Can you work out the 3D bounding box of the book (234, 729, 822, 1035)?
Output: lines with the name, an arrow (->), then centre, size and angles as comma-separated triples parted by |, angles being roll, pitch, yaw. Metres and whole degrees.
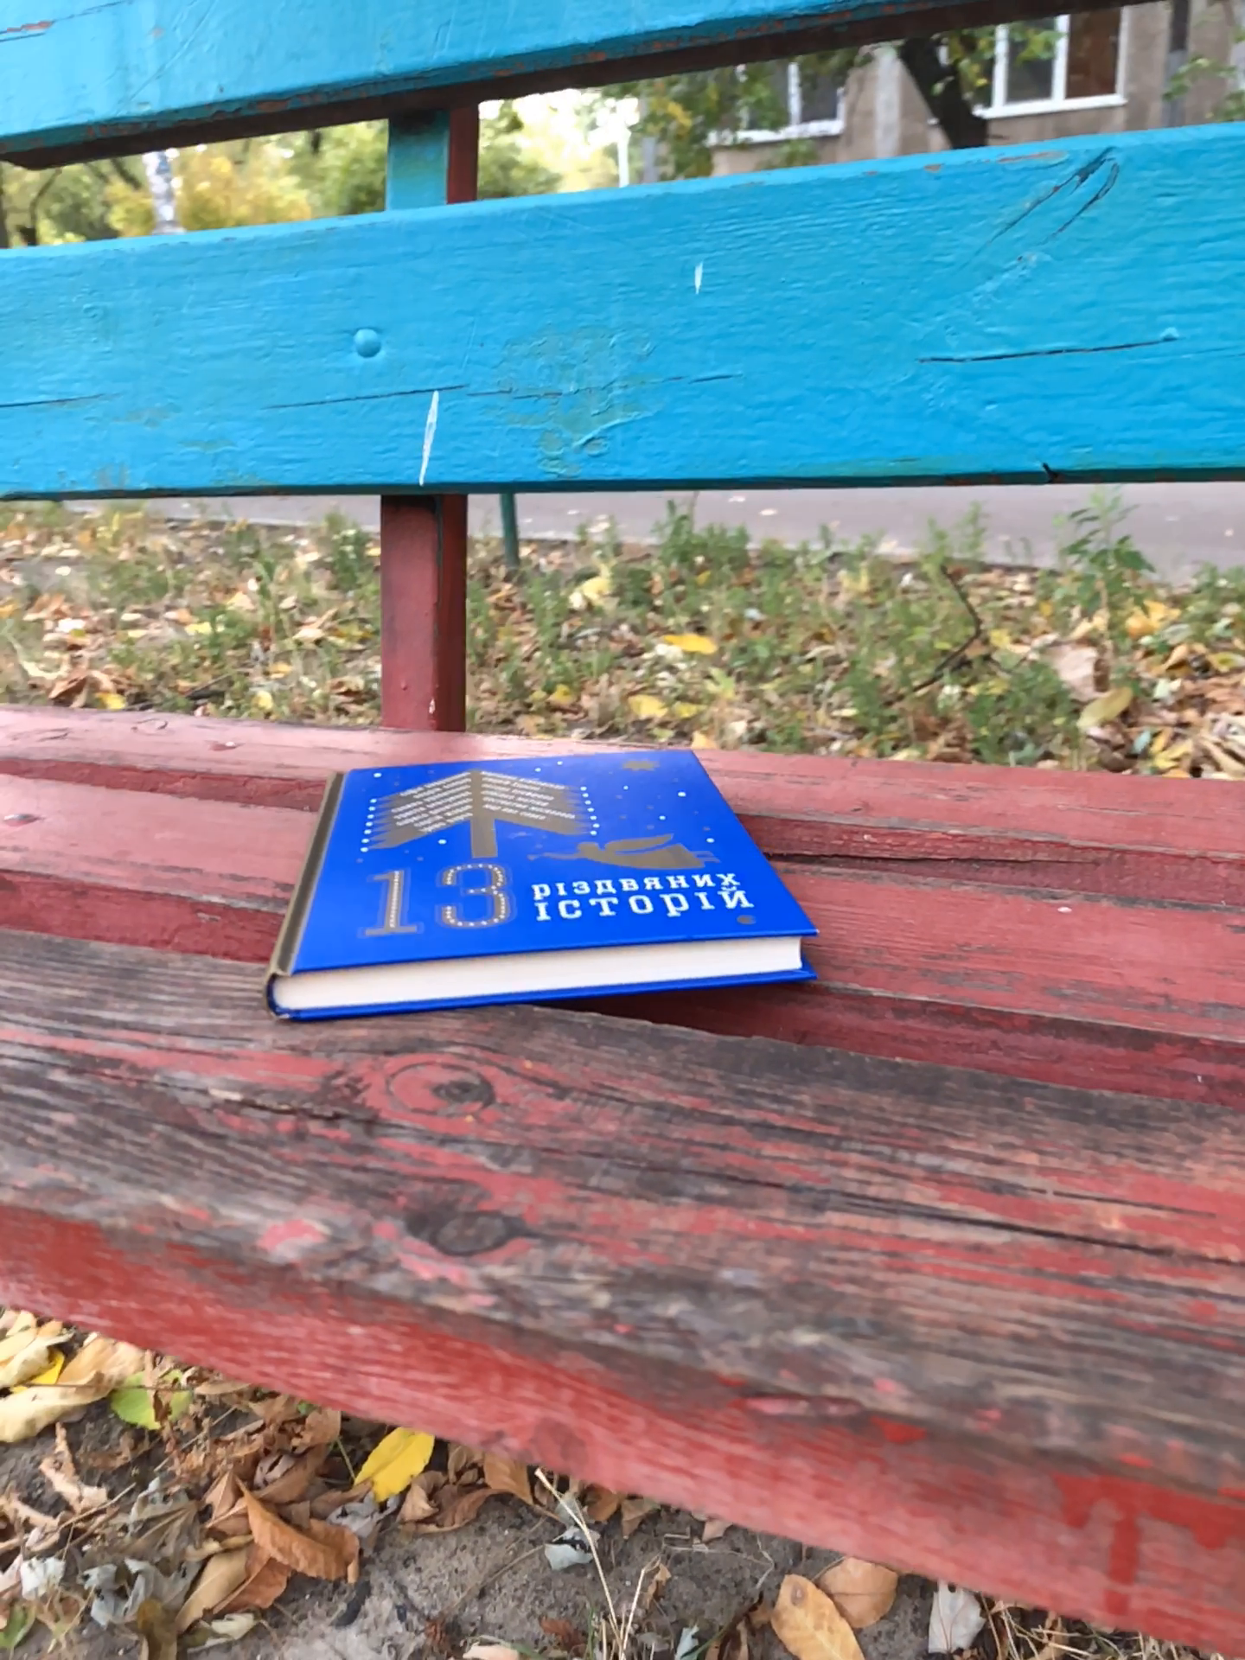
book -> -0.036, 0.006, 0.463 | 0.155, 0.020, 0.213 | -4, 18, -6
